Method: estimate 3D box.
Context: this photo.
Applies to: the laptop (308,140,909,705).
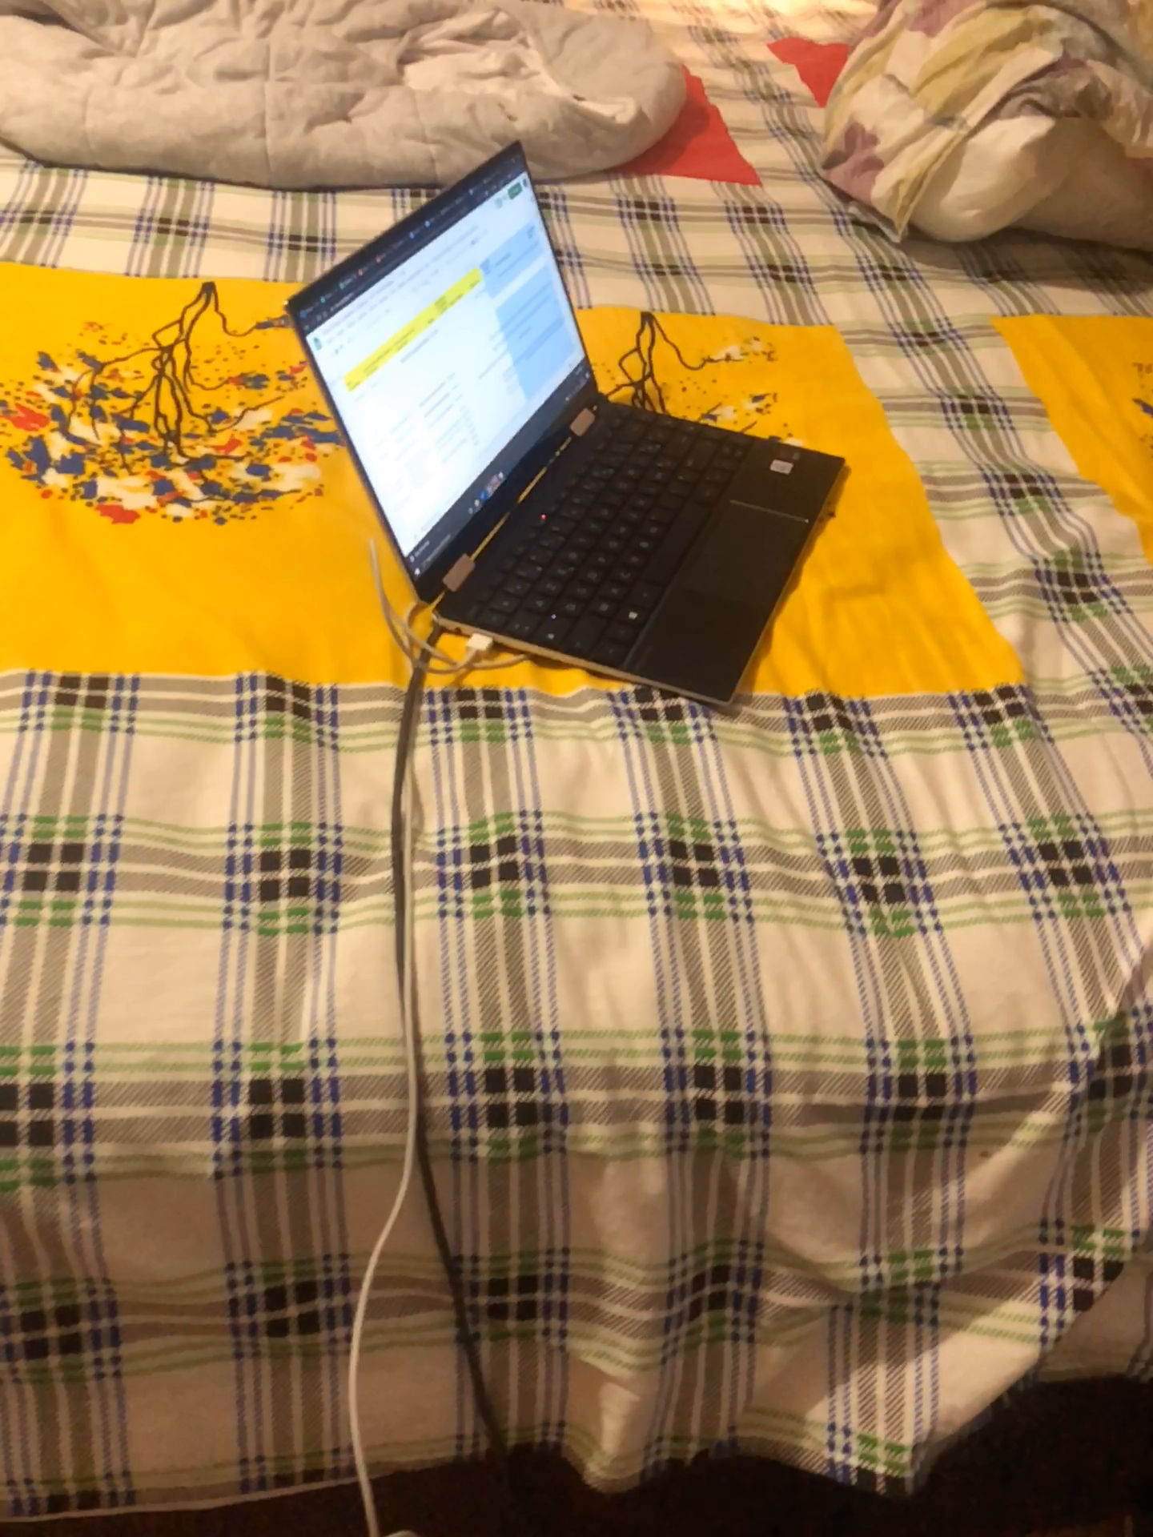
[{"bbox_3d":[0.026,-0.221,0.747,0.253,0.158,0.275,19,47,13],"label":"laptop"}]
